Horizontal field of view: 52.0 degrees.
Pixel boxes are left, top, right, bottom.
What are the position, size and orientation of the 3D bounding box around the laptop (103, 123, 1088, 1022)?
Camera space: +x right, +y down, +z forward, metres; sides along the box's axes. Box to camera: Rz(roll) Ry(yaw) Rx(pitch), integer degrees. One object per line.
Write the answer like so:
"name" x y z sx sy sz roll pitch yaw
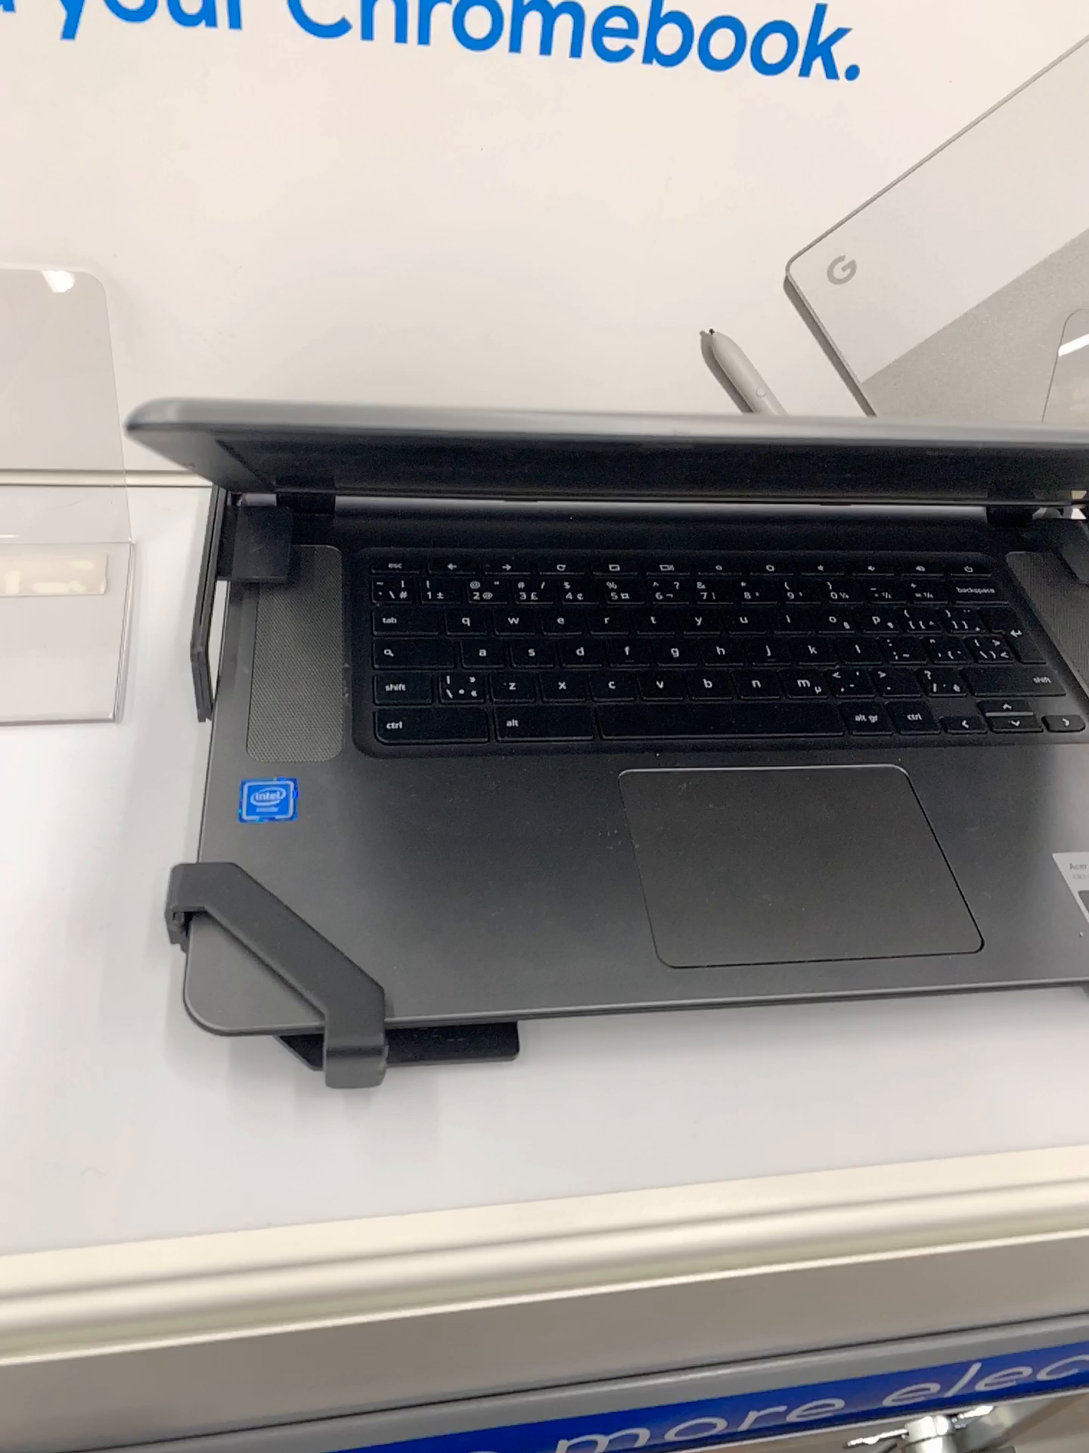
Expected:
"laptop" 0.064 -0.049 0.295 0.301 0.116 0.194 -1 48 -9
